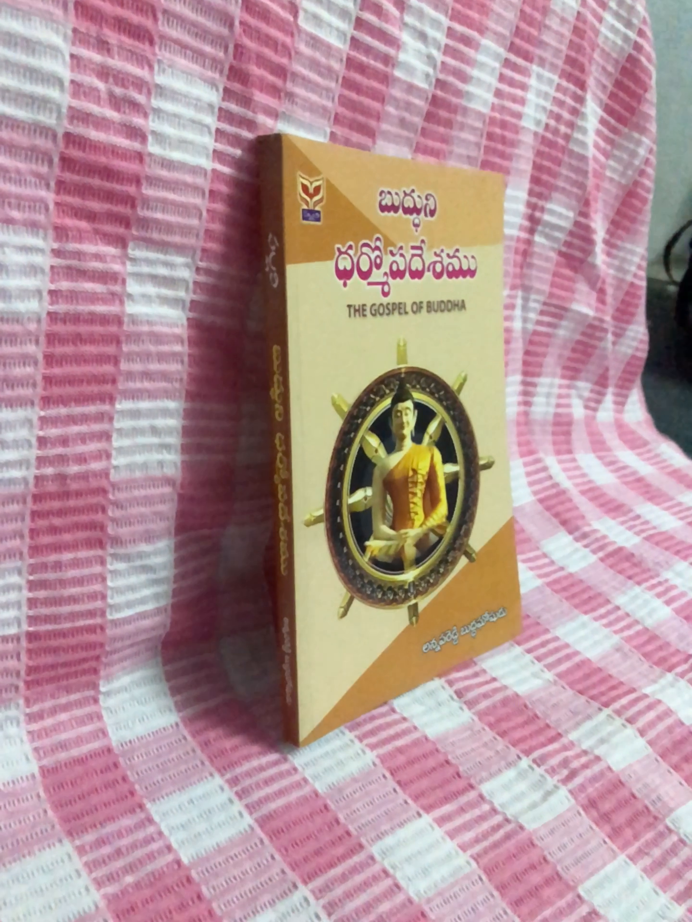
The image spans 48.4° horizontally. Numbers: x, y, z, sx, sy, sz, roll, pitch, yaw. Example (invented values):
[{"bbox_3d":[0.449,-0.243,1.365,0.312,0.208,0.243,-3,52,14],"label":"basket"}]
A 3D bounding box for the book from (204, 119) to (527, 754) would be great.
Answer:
[{"bbox_3d":[0.019,-0.013,0.305,0.141,0.210,0.020,-12,13,-40],"label":"book"}]
